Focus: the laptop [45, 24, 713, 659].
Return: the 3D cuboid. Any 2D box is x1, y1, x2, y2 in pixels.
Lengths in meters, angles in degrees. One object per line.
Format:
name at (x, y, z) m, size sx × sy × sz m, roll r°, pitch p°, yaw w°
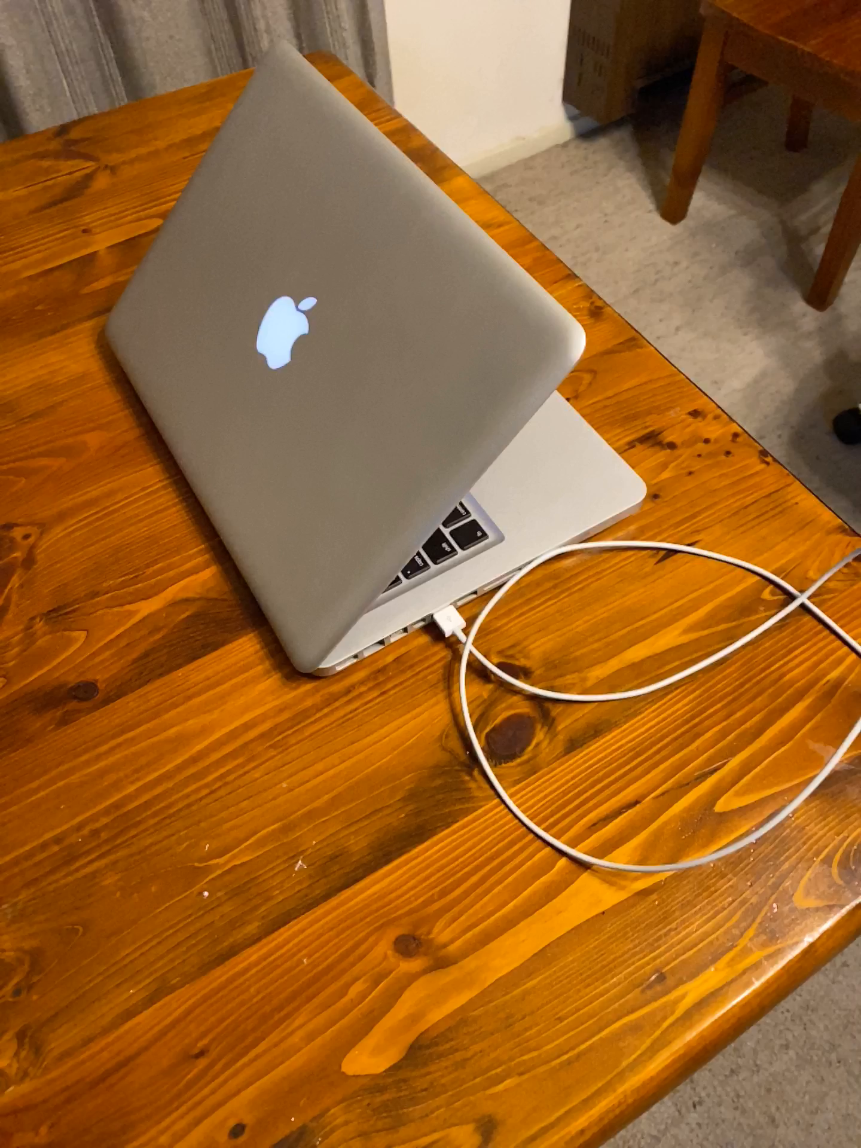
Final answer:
laptop at (-0.042, -0.150, 0.498) m, size 0.211 × 0.136 × 0.311 m, roll -27°, pitch 59°, yaw -15°
